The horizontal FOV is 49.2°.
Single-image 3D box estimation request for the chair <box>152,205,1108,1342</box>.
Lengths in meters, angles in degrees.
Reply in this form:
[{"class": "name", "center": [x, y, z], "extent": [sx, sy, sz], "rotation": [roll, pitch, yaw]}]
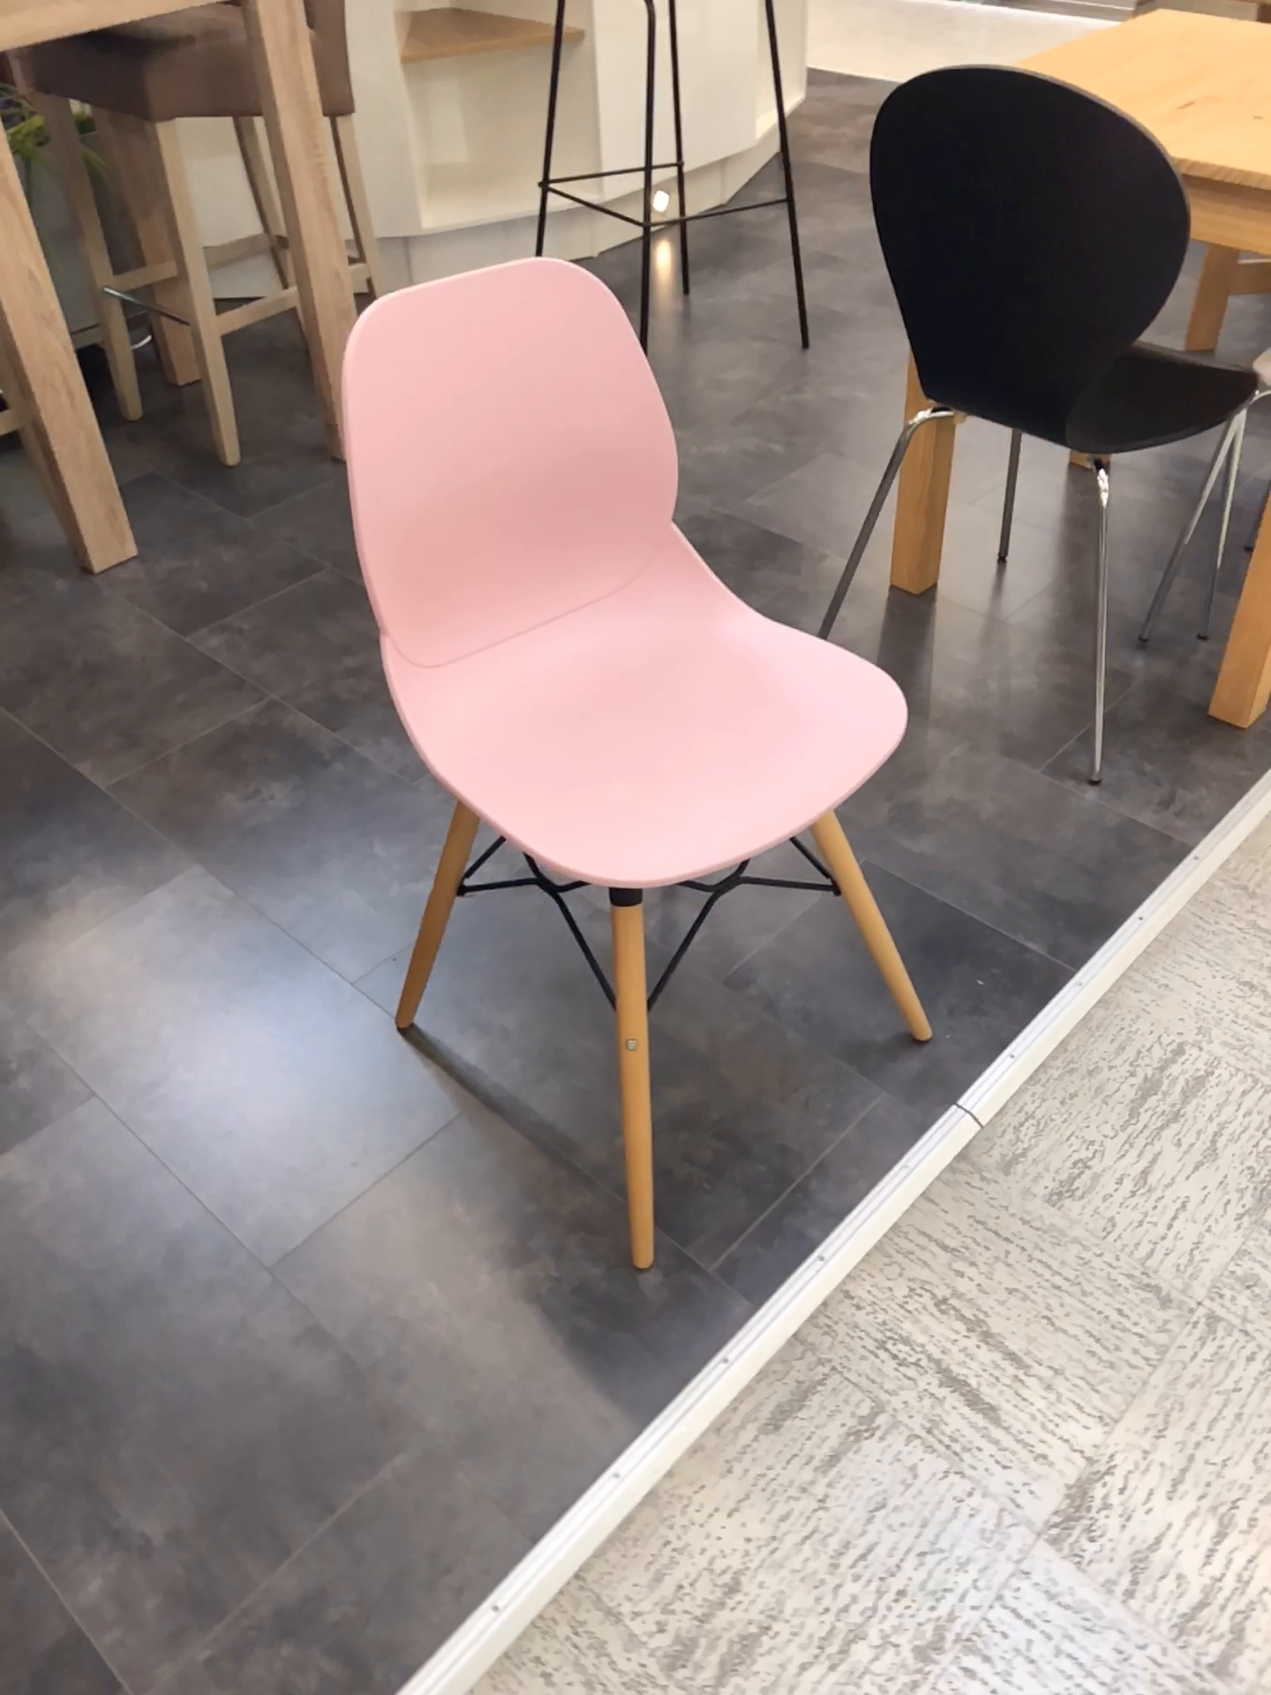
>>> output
[{"class": "chair", "center": [0.001, -0.082, 1.406], "extent": [0.554, 0.847, 0.550], "rotation": [-31, 49, -29]}]
